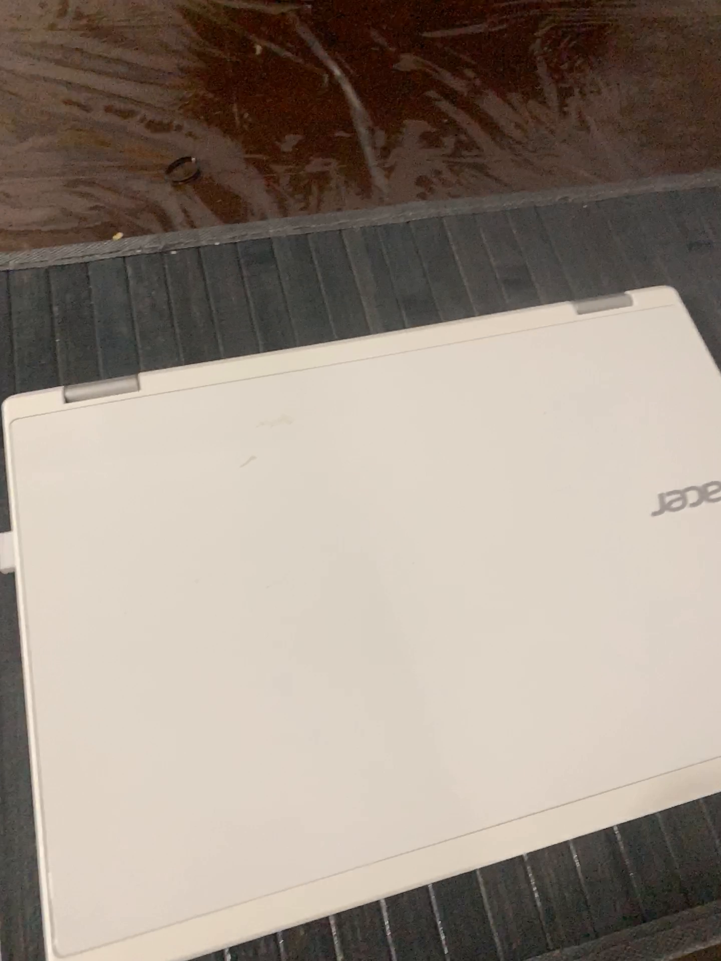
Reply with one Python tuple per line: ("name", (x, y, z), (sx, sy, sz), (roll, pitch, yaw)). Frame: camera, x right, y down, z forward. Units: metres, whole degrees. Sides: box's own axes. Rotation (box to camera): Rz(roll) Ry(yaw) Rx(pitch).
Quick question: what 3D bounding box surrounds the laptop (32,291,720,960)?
("laptop", (0.034, 0.029, 0.273), (0.278, 0.002, 0.195), (-11, 67, -9))
